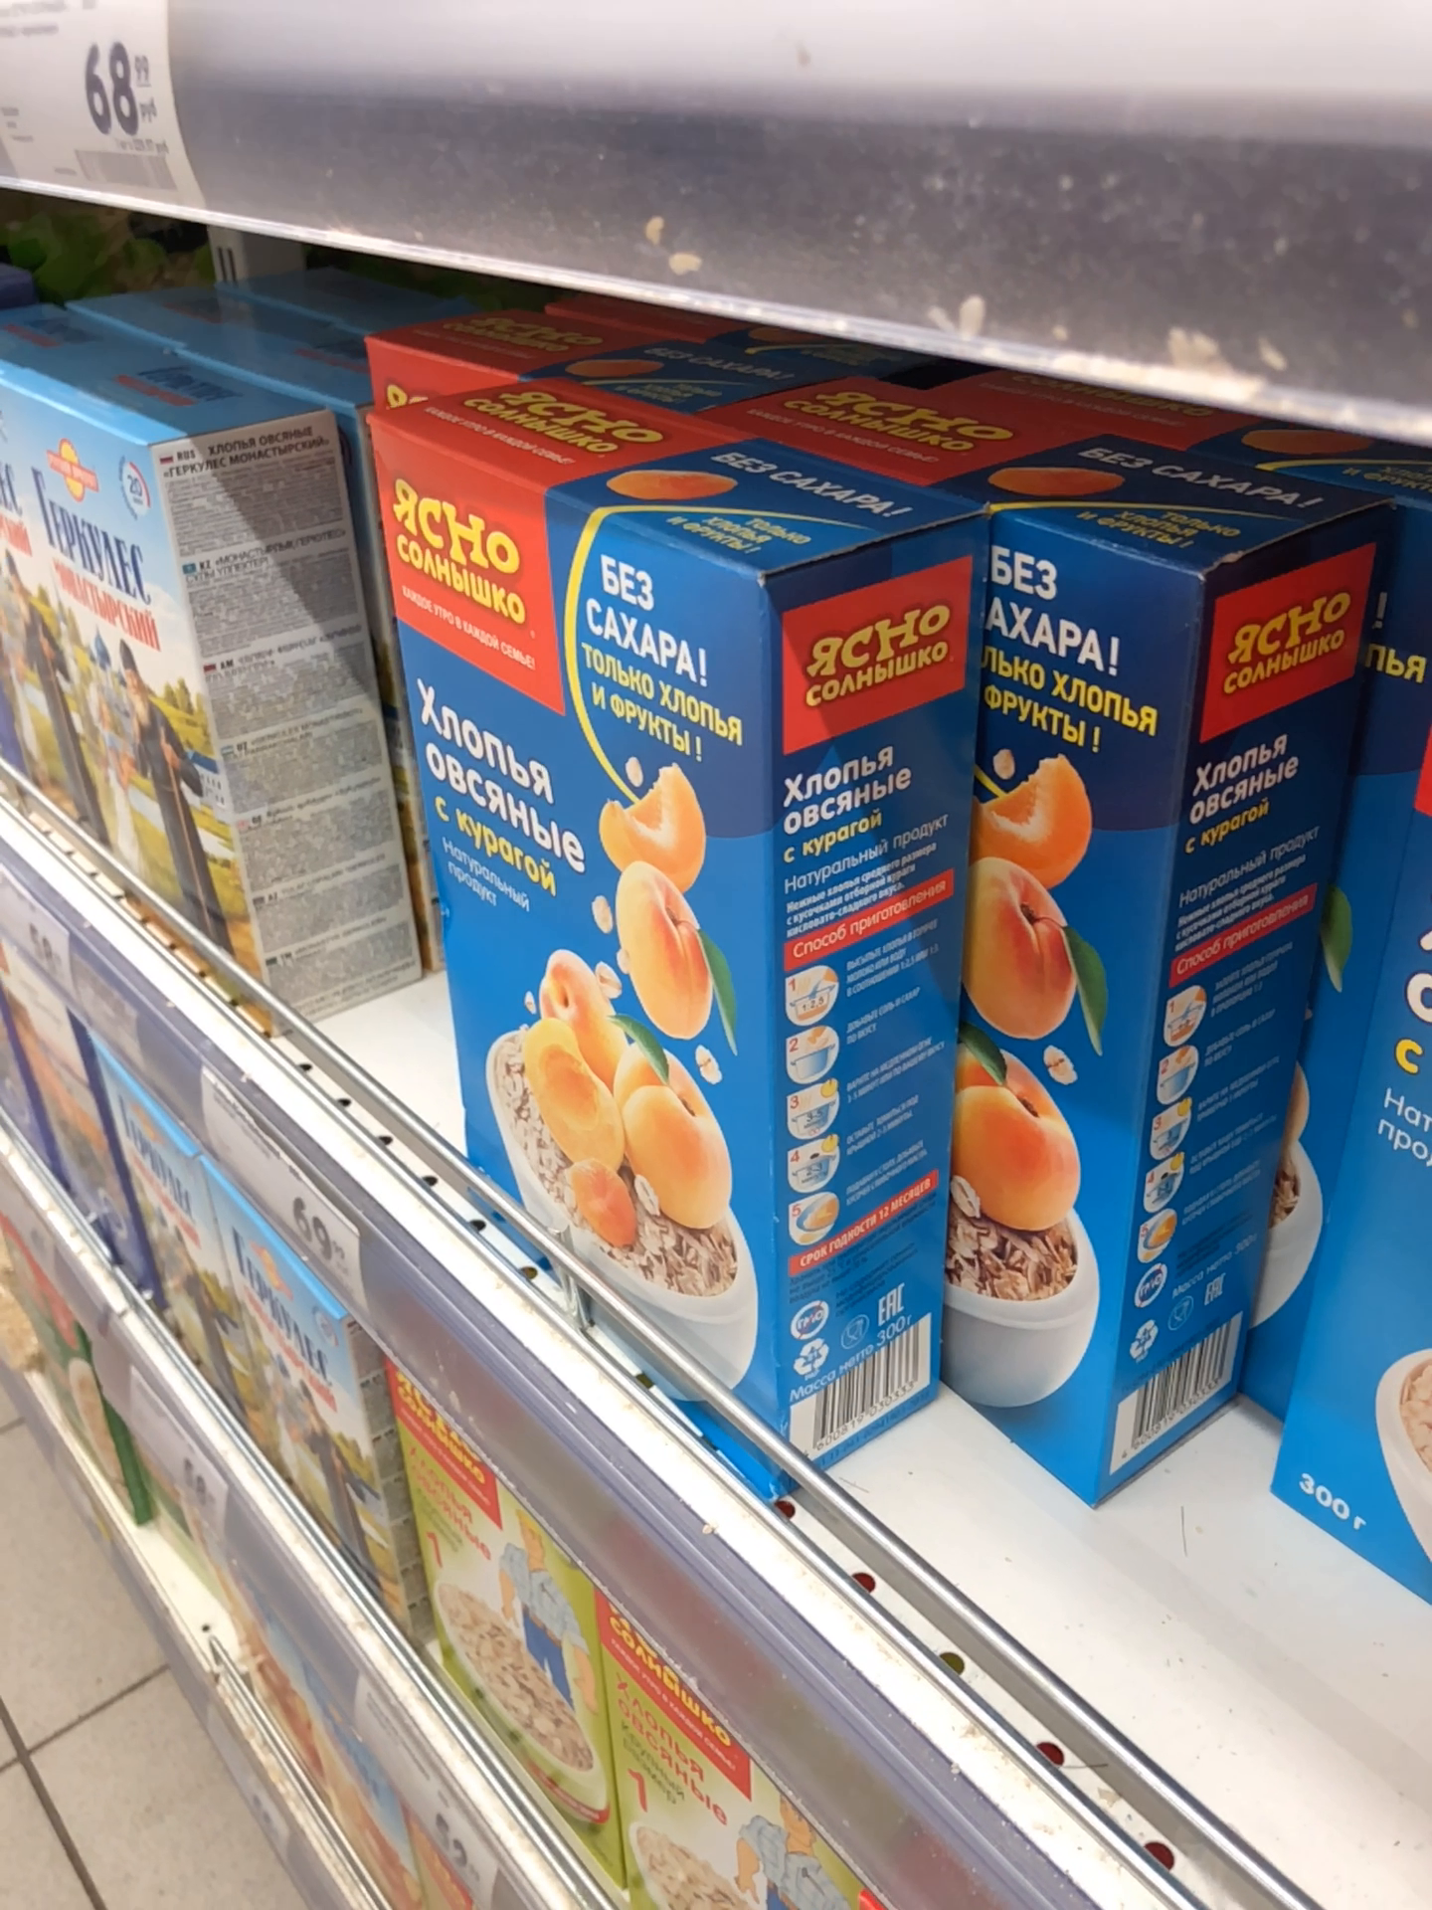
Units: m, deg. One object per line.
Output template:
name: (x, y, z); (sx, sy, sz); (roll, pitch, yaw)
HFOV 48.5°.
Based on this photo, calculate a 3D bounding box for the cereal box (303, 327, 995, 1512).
cereal box: (-0.017, -0.012, 0.343); (0.050, 0.209, 0.151); (-22, 36, -30)
